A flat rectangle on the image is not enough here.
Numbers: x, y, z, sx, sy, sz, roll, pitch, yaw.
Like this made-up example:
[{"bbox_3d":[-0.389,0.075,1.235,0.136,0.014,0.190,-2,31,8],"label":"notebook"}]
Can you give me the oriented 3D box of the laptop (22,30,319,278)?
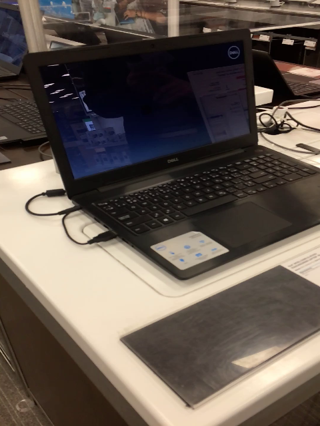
[{"bbox_3d":[0.093,-0.122,0.622,0.401,0.222,0.312,-22,41,-28],"label":"laptop"}]
